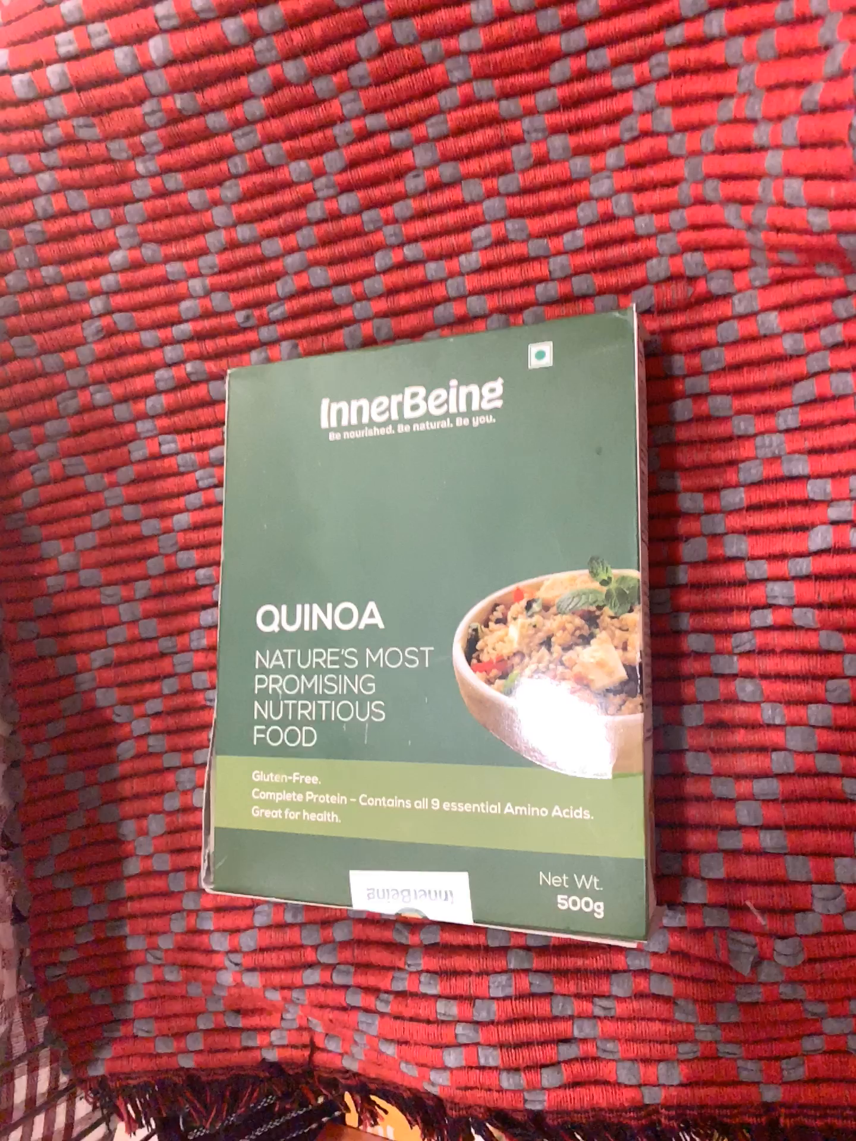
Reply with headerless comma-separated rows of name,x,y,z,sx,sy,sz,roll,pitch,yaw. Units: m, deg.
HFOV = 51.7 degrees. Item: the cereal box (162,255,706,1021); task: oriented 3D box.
cereal box,-0.002,0.017,0.257,0.151,0.040,0.180,-2,84,25
